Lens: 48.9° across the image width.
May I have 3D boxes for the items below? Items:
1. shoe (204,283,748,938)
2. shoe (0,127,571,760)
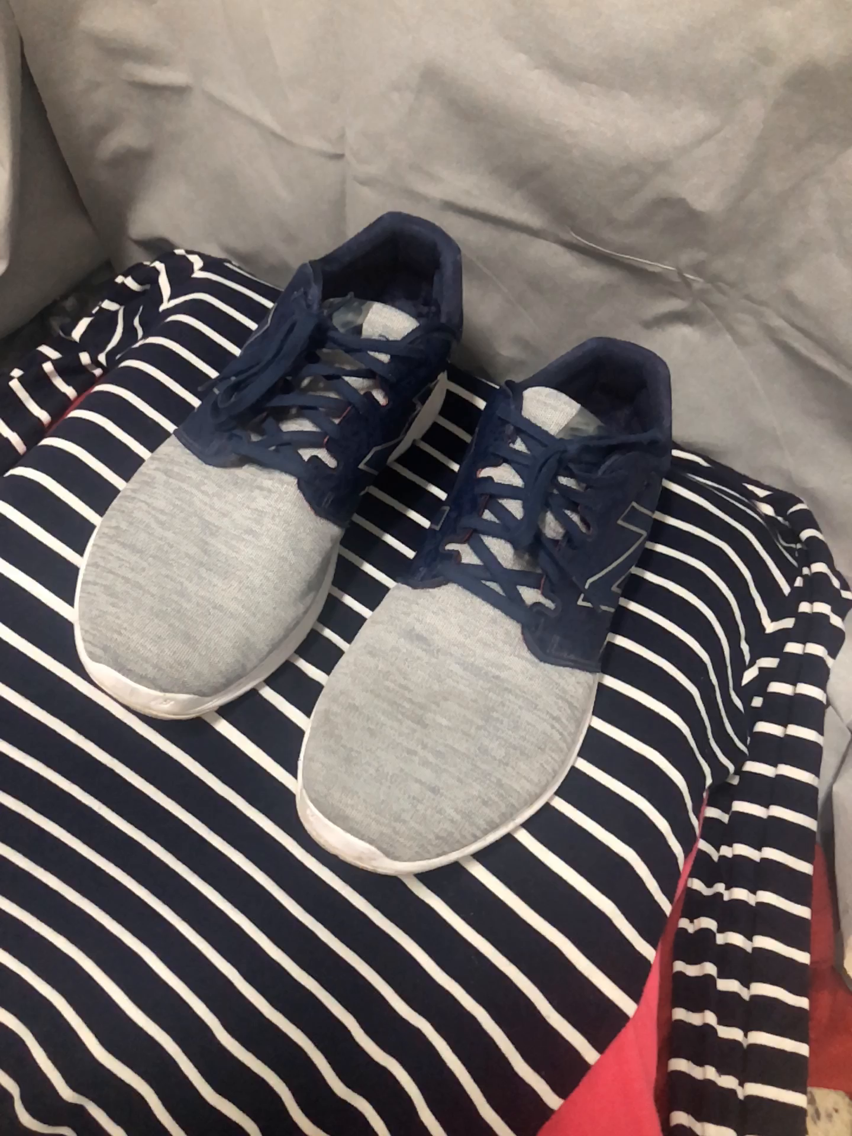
[{"bbox_3d":[0.034,-0.002,0.400,0.120,0.079,0.262,28,52,7],"label":"shoe"},{"bbox_3d":[-0.055,-0.084,0.445,0.120,0.089,0.322,28,52,7],"label":"shoe"}]
